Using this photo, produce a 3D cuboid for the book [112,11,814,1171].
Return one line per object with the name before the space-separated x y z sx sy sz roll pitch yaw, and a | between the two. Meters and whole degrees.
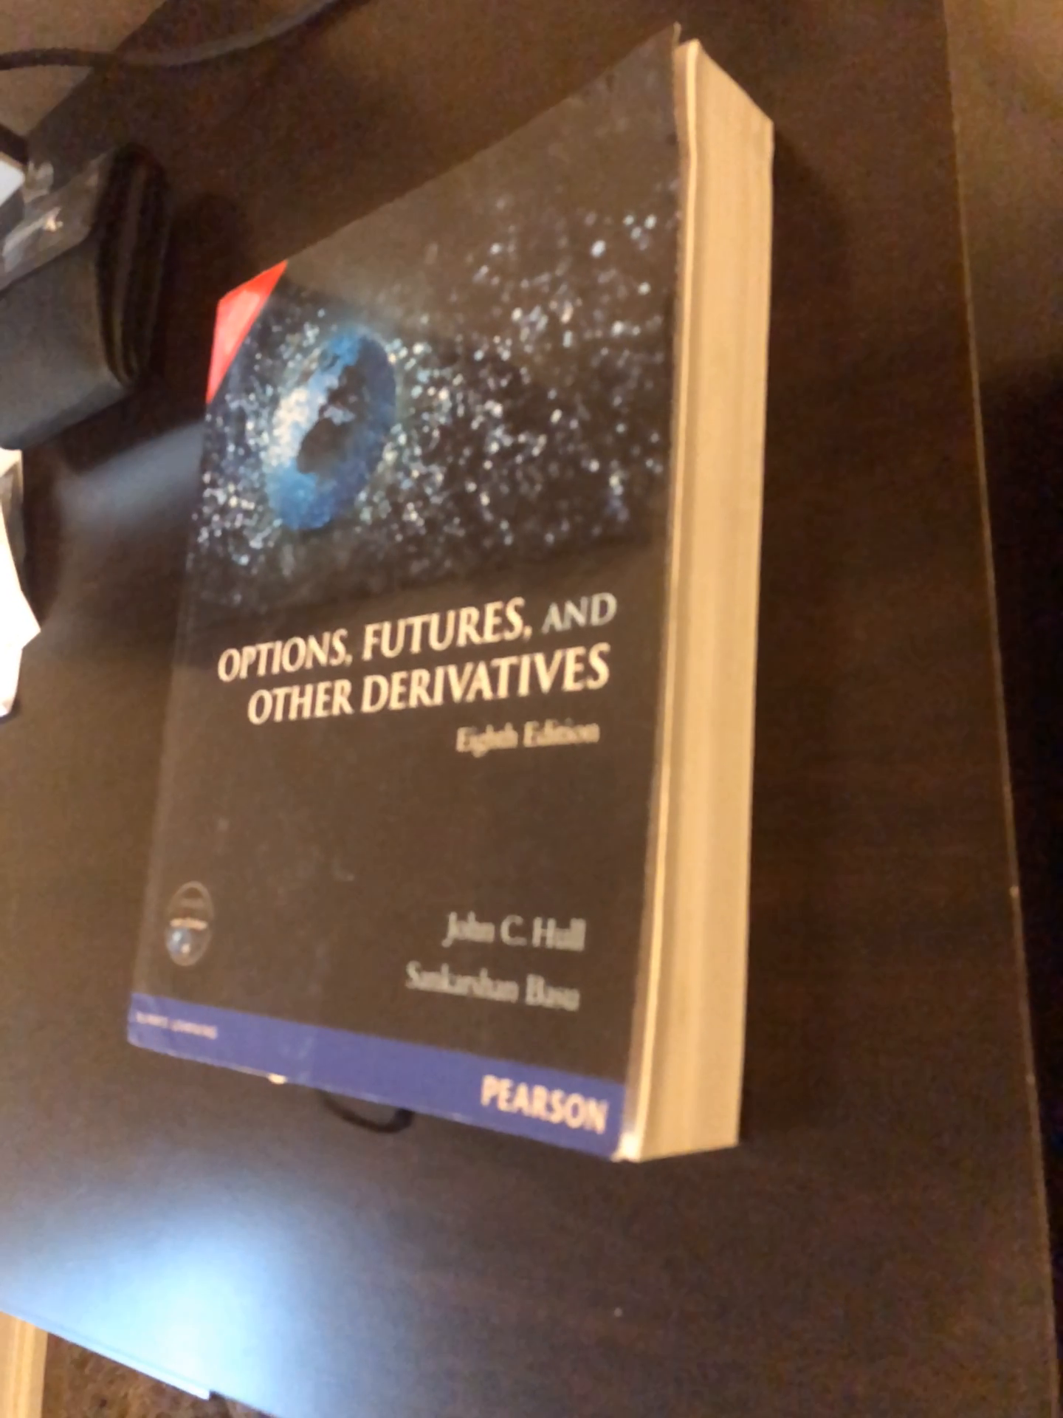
book | -0.028 -0.026 0.339 0.208 0.050 0.261 -5 76 41
